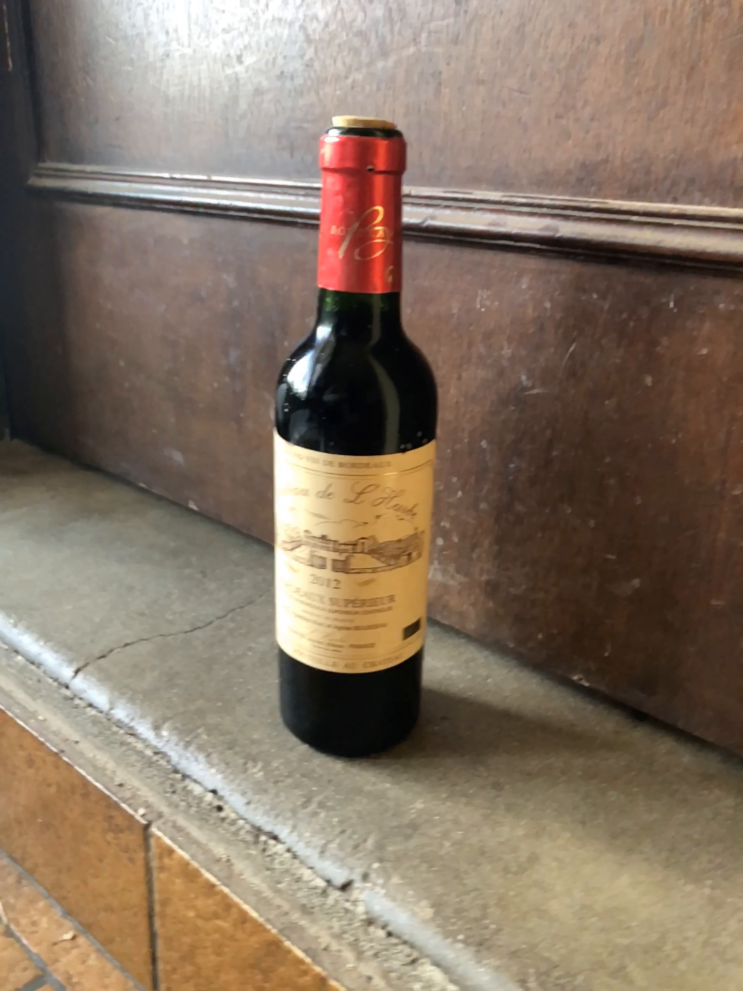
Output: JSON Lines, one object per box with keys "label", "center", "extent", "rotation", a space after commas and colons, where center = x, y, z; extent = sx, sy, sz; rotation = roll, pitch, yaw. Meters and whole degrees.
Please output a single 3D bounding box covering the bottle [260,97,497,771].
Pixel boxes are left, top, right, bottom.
{"label": "bottle", "center": [0.002, -0.016, 0.313], "extent": [0.070, 0.239, 0.060], "rotation": [4, 22, 6]}
